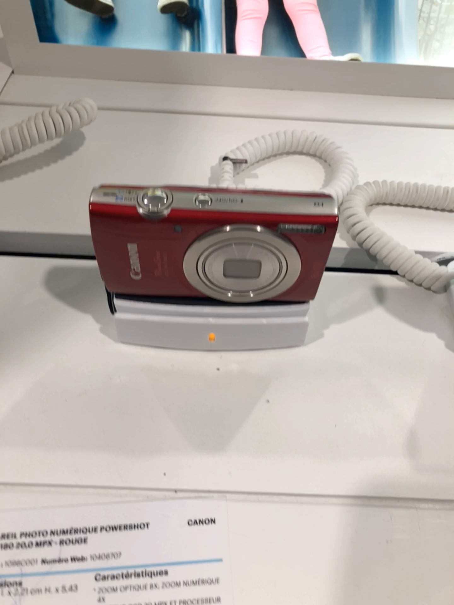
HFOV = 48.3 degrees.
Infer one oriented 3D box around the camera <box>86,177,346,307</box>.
[{"bbox_3d":[-0.004,-0.023,0.206,0.092,0.050,0.022,1,51,-2],"label":"camera"}]
